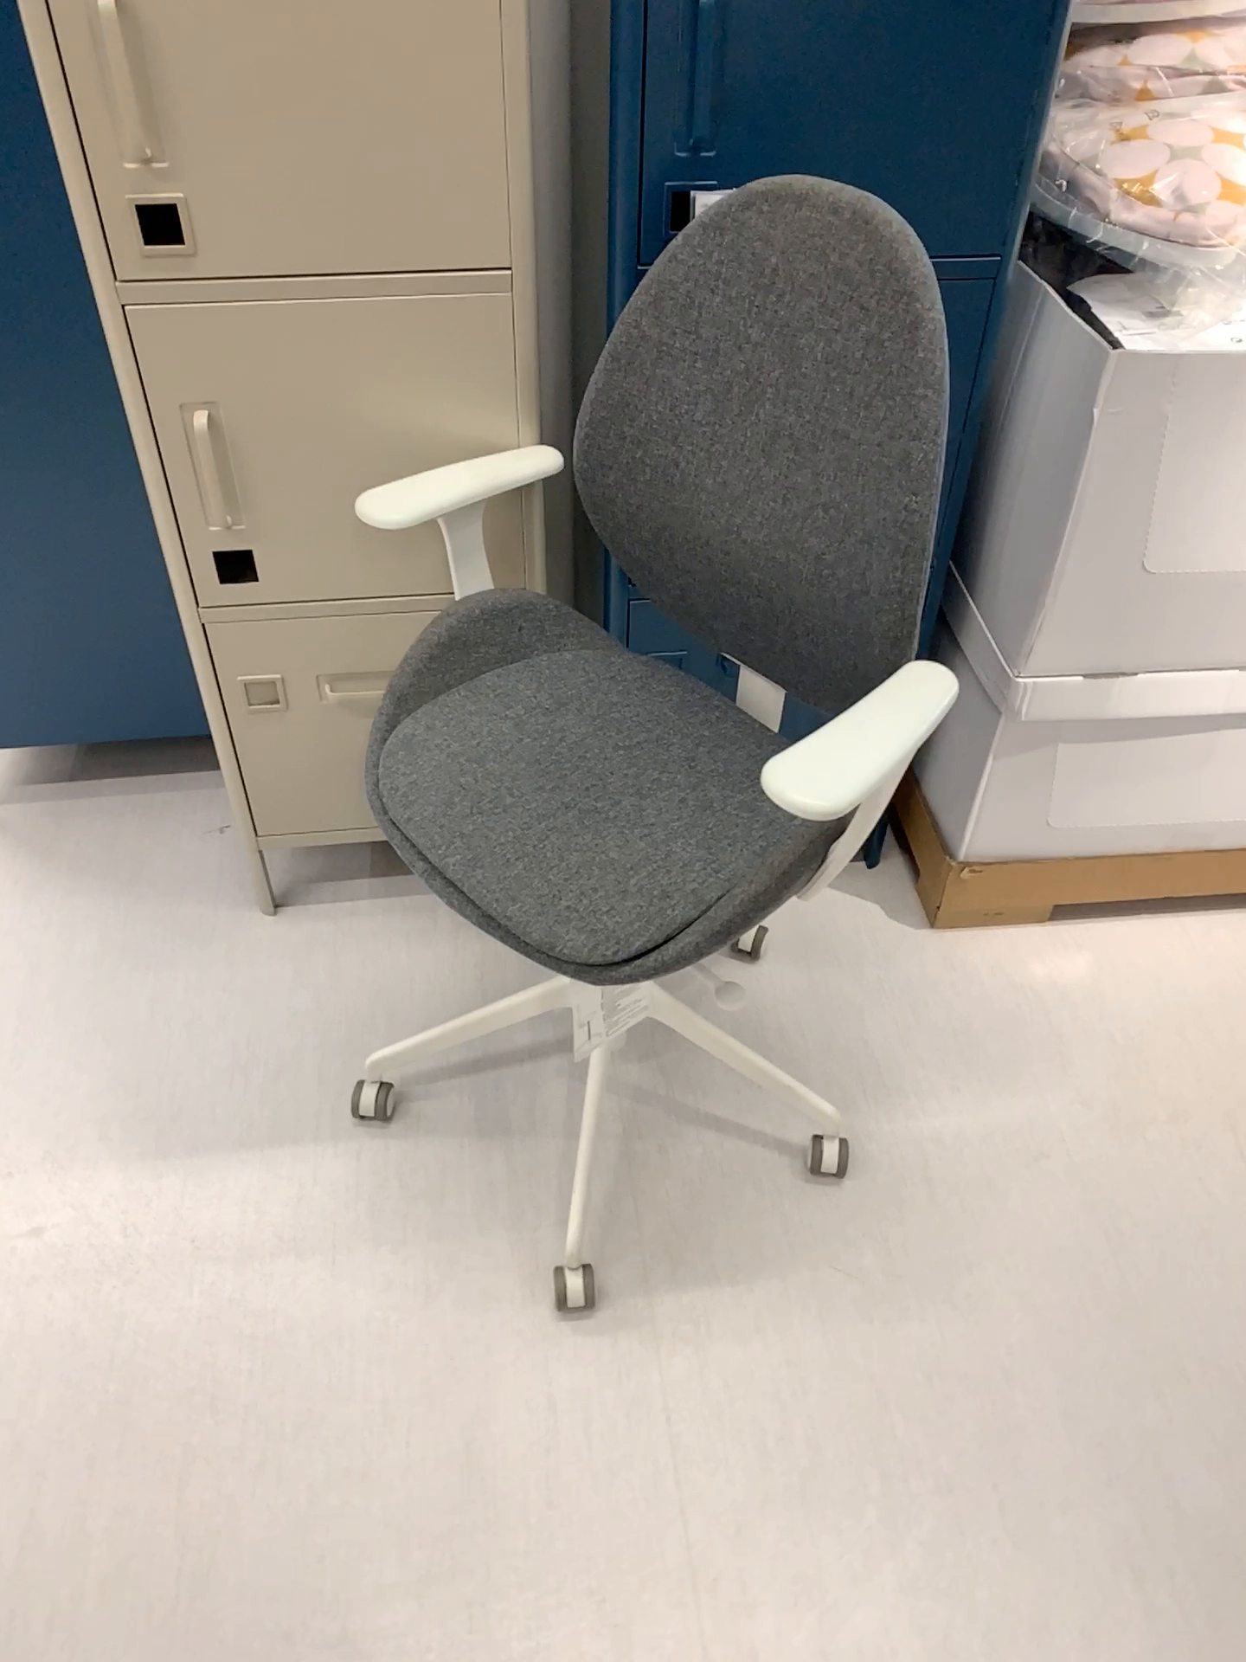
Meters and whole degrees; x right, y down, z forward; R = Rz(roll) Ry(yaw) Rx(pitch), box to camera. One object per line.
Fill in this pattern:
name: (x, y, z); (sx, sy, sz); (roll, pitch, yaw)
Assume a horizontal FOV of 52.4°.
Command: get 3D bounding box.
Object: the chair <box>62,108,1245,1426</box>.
chair: (0.026, -0.064, 1.313); (0.671, 0.996, 0.652); (-32, 53, -30)
